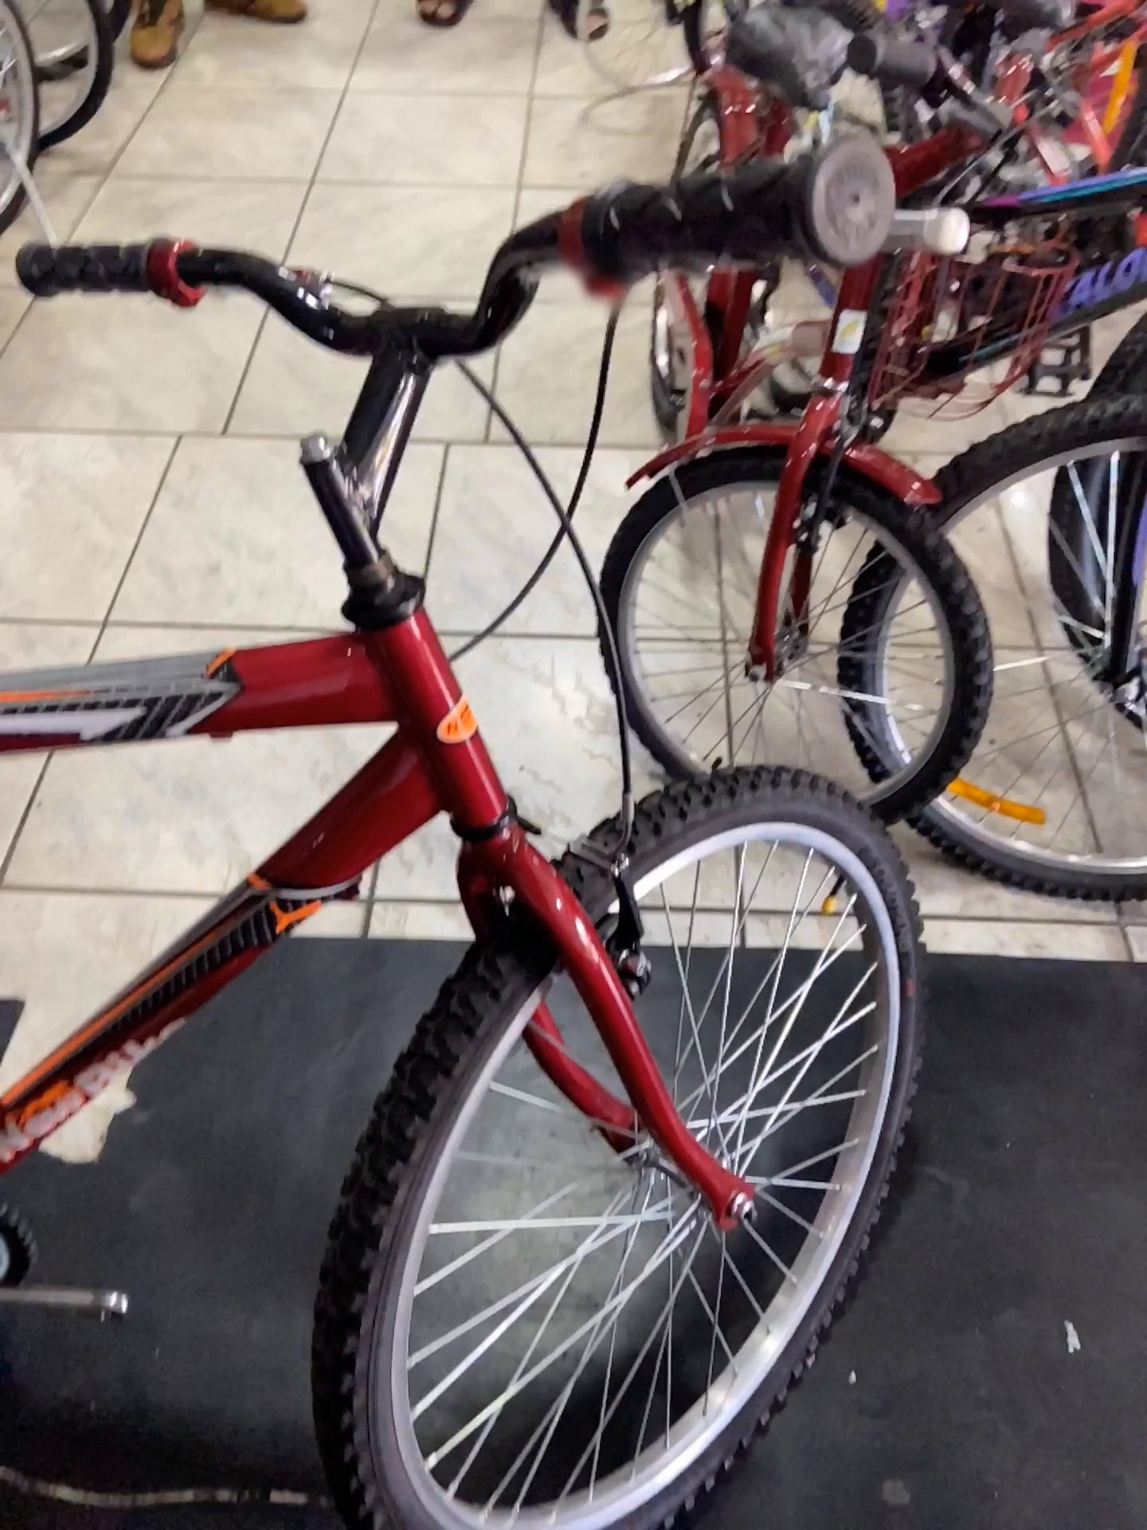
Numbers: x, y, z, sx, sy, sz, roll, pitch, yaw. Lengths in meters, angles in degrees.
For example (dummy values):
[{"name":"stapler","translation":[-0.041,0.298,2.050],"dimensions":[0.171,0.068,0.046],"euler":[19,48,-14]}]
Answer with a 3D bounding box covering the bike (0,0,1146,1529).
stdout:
[{"name":"bike","translation":[-0.512,0.018,0.789],"dimensions":[1.582,1.029,0.568],"euler":[-8,51,-2]}]
